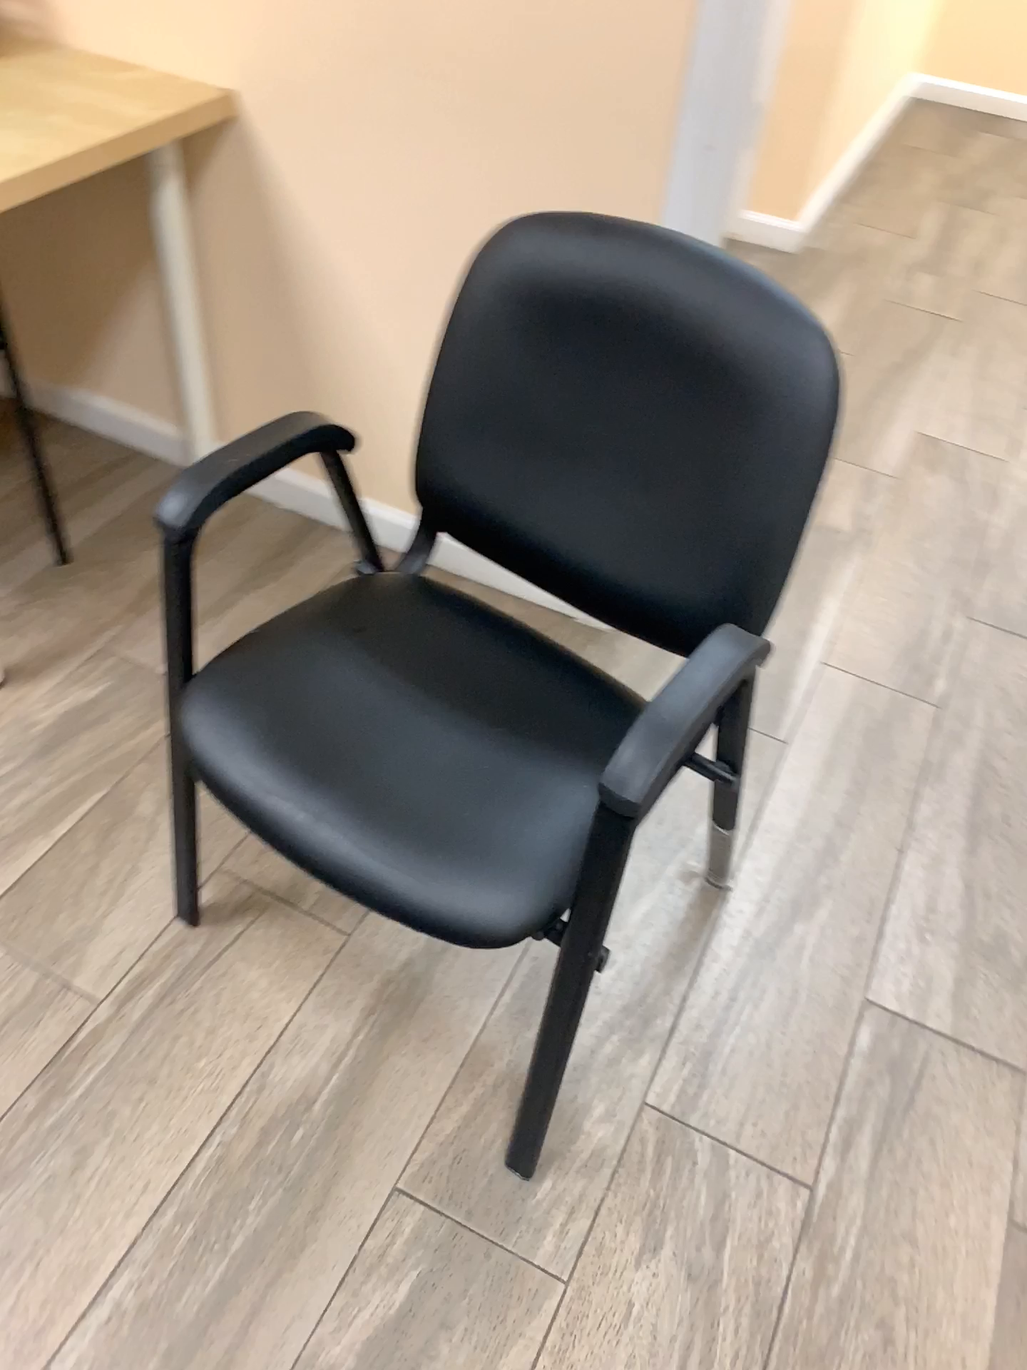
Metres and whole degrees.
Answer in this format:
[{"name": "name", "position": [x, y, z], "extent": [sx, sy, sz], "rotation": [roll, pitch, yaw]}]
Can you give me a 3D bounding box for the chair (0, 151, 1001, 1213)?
[{"name": "chair", "position": [-0.012, -0.008, 1.164], "extent": [0.606, 0.817, 0.607], "rotation": [30, 49, 22]}]
